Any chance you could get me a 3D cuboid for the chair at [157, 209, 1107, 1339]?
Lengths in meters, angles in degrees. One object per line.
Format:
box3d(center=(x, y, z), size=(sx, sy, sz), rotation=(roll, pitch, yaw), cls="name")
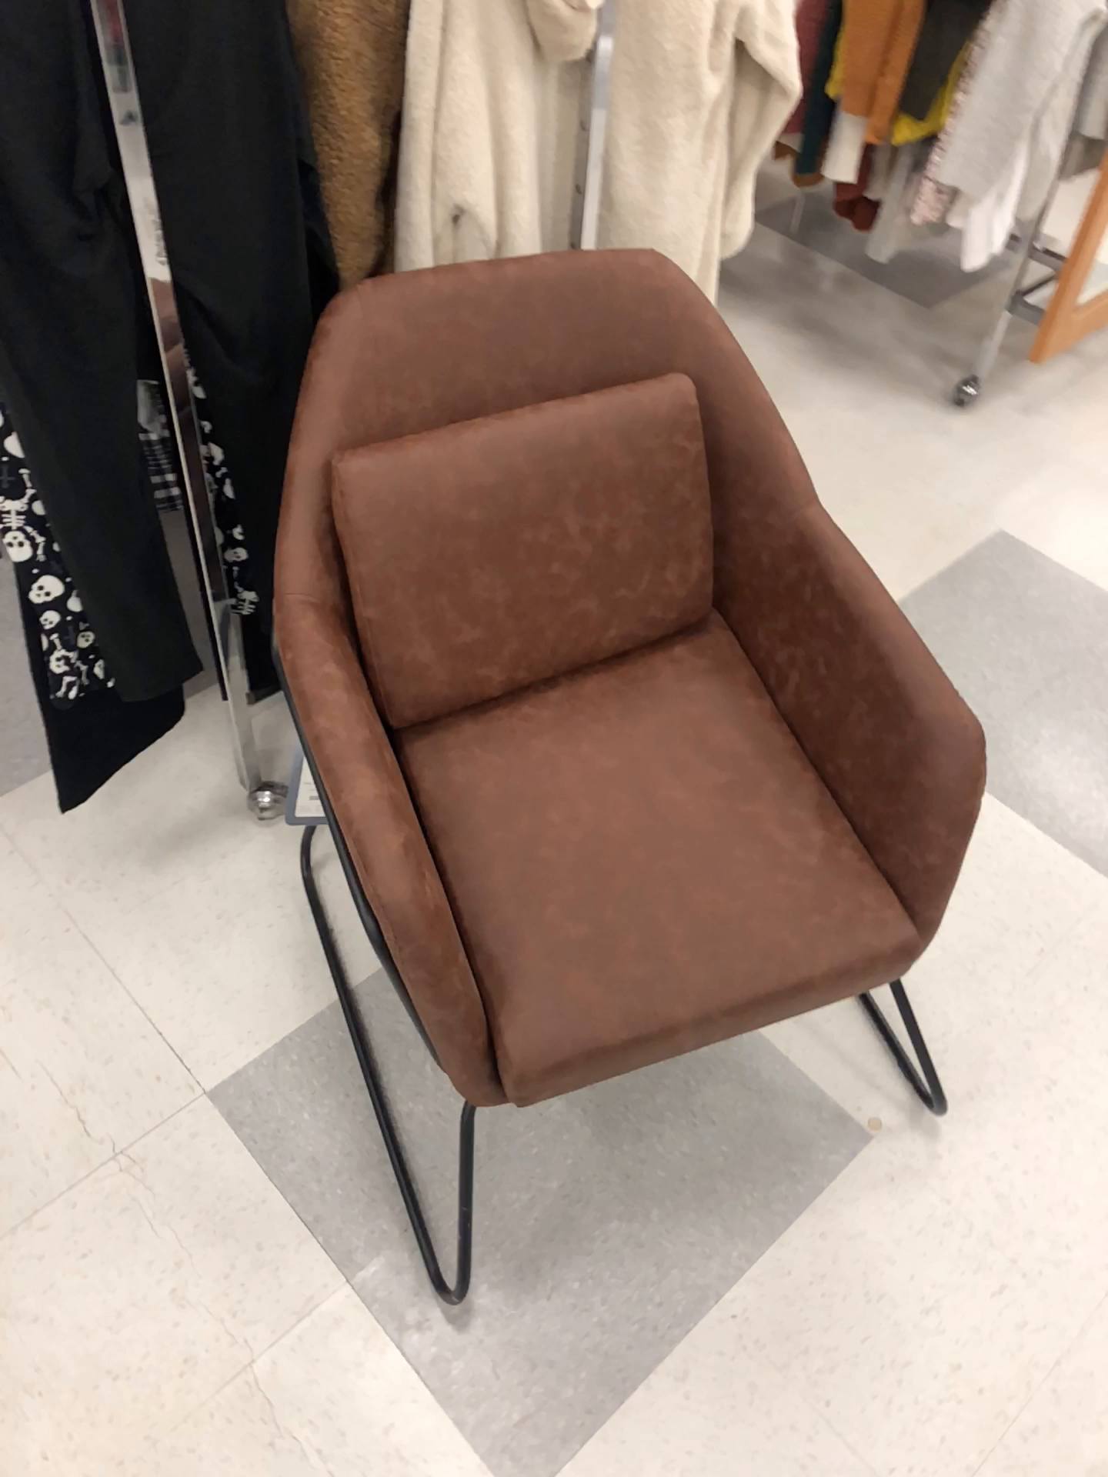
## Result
box3d(center=(0.067, 0.030, 1.374), size=(0.735, 0.850, 0.762), rotation=(-14, 51, -17), cls="chair")
